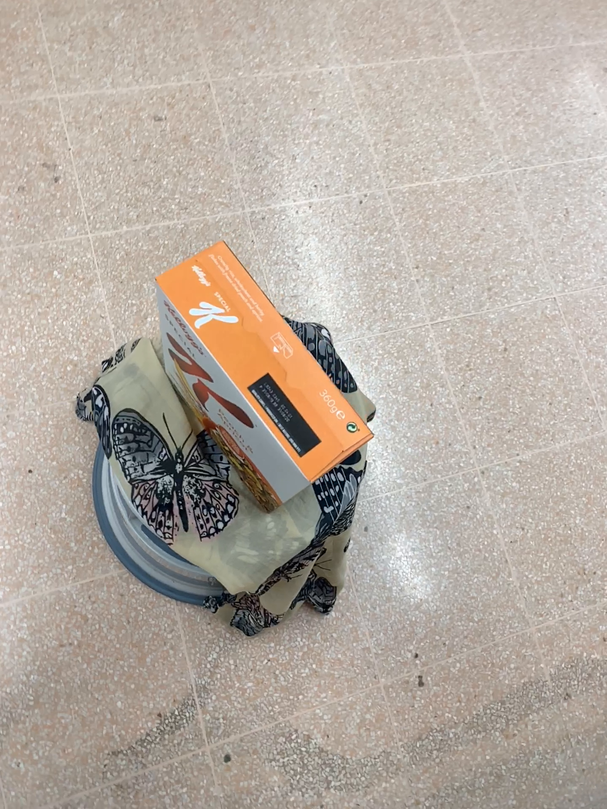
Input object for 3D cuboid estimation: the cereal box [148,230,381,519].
[{"bbox_3d":[-0.052,-0.003,0.586,0.060,0.269,0.210,-36,85,-16],"label":"cereal box"}]
